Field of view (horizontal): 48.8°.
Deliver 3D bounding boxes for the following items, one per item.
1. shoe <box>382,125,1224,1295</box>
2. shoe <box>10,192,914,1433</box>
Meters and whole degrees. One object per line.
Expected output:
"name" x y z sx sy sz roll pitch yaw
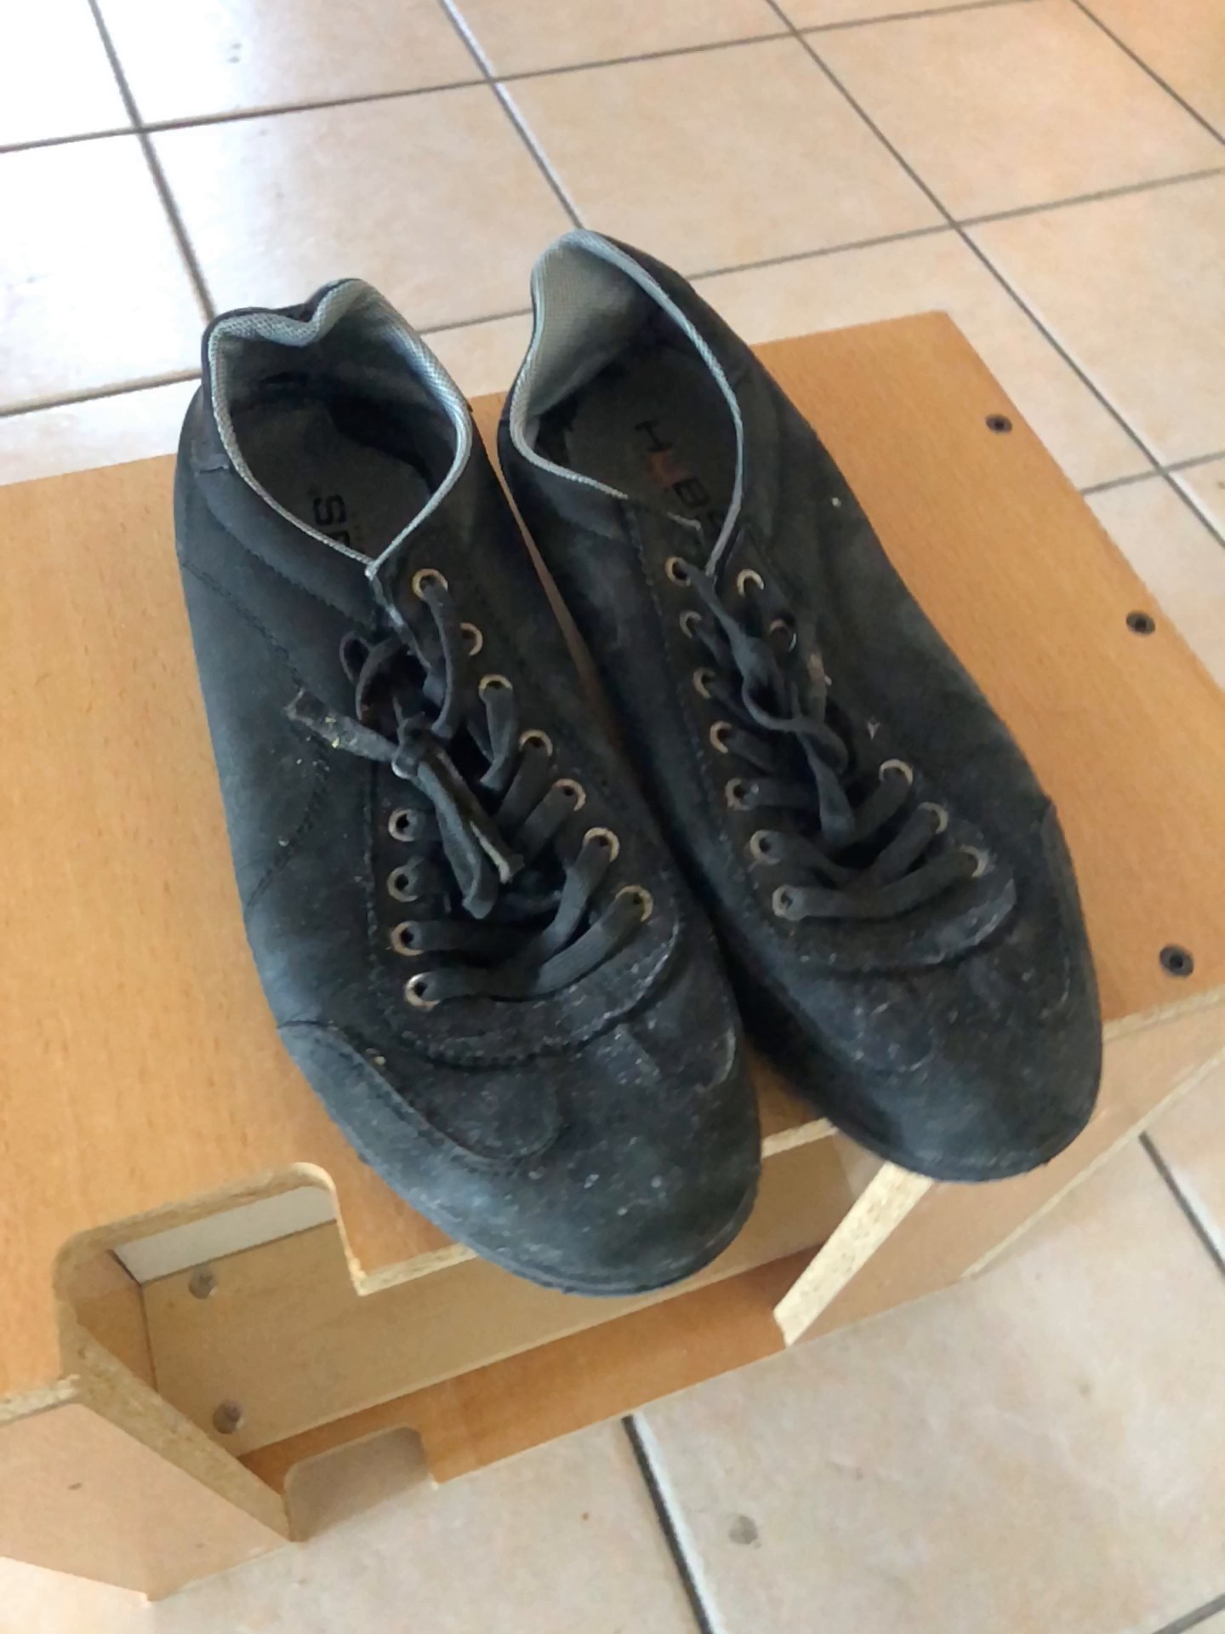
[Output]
"shoe" 0.042 -0.051 0.368 0.110 0.089 0.311 -18 61 -16
"shoe" -0.056 -0.023 0.347 0.110 0.089 0.301 -18 61 -16
